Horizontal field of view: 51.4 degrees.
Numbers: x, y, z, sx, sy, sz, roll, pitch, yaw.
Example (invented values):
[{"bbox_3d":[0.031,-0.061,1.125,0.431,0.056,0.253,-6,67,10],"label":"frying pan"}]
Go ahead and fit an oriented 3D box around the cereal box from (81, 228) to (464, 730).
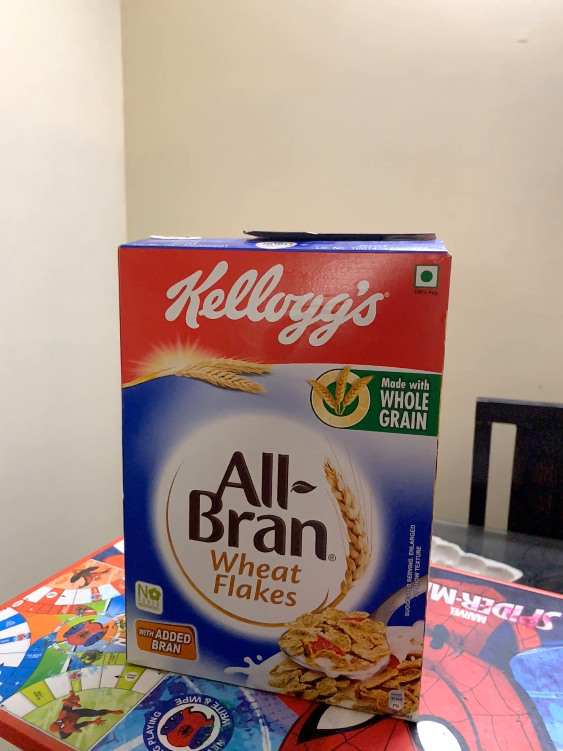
[{"bbox_3d":[-0.006,0.047,0.330,0.190,0.249,0.060,4,10,14],"label":"cereal box"}]
